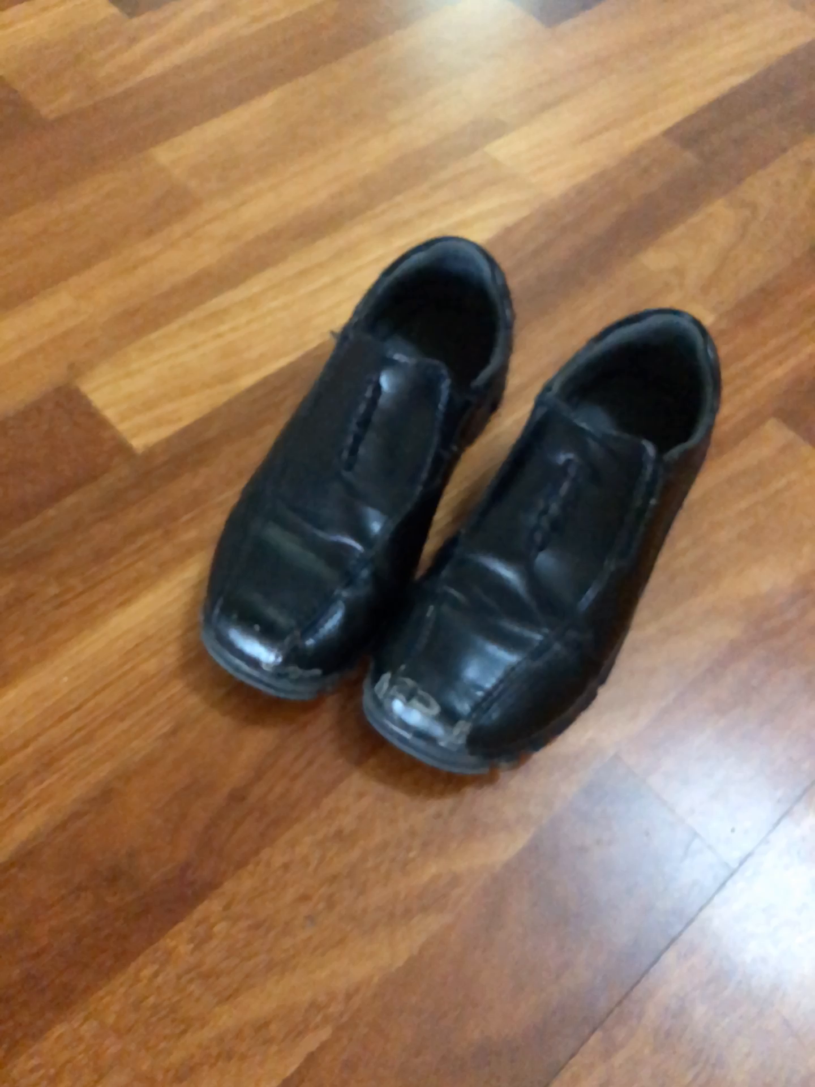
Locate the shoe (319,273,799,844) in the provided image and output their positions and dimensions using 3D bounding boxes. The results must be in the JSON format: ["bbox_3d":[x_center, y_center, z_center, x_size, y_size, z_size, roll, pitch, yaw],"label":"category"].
[{"bbox_3d":[0.069,-0.004,0.394,0.091,0.075,0.233,31,62,15],"label":"shoe"}]

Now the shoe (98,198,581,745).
[{"bbox_3d":[-0.018,-0.042,0.410,0.094,0.075,0.233,26,61,12],"label":"shoe"}]
